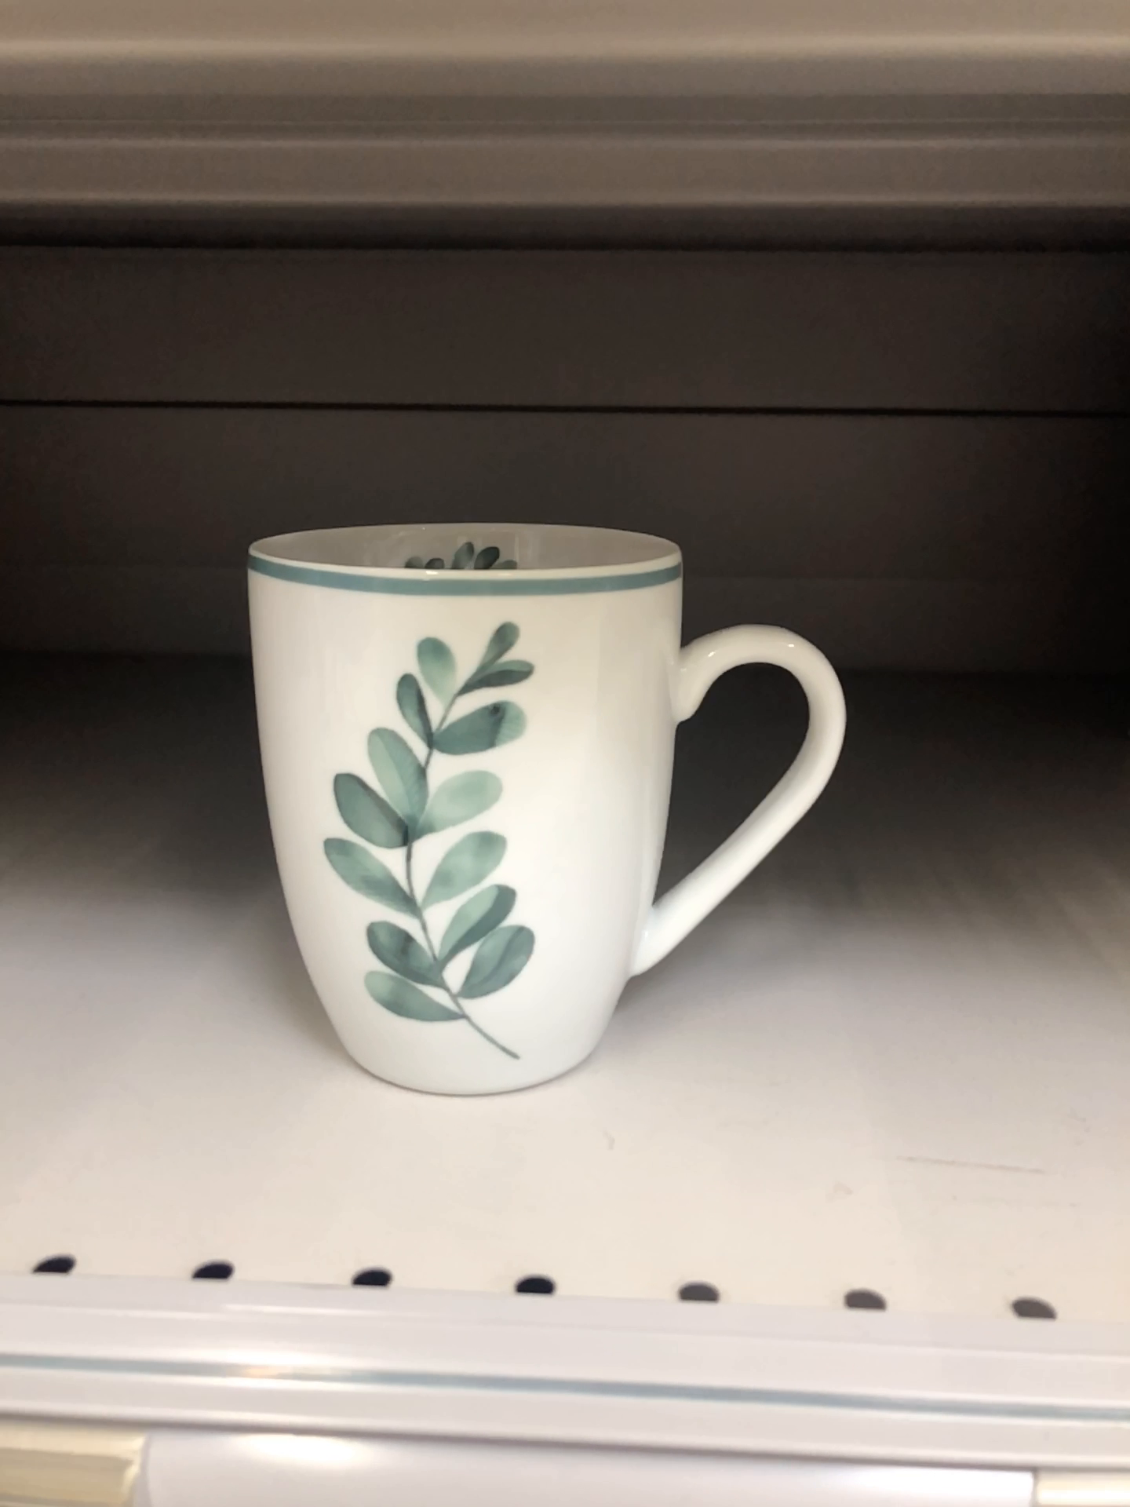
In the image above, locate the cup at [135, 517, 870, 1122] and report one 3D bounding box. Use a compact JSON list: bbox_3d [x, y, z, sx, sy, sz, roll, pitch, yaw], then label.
[{"bbox_3d":[-0.008,0.005,0.248,0.116,0.093,0.082,2,16,5],"label":"cup"}]
